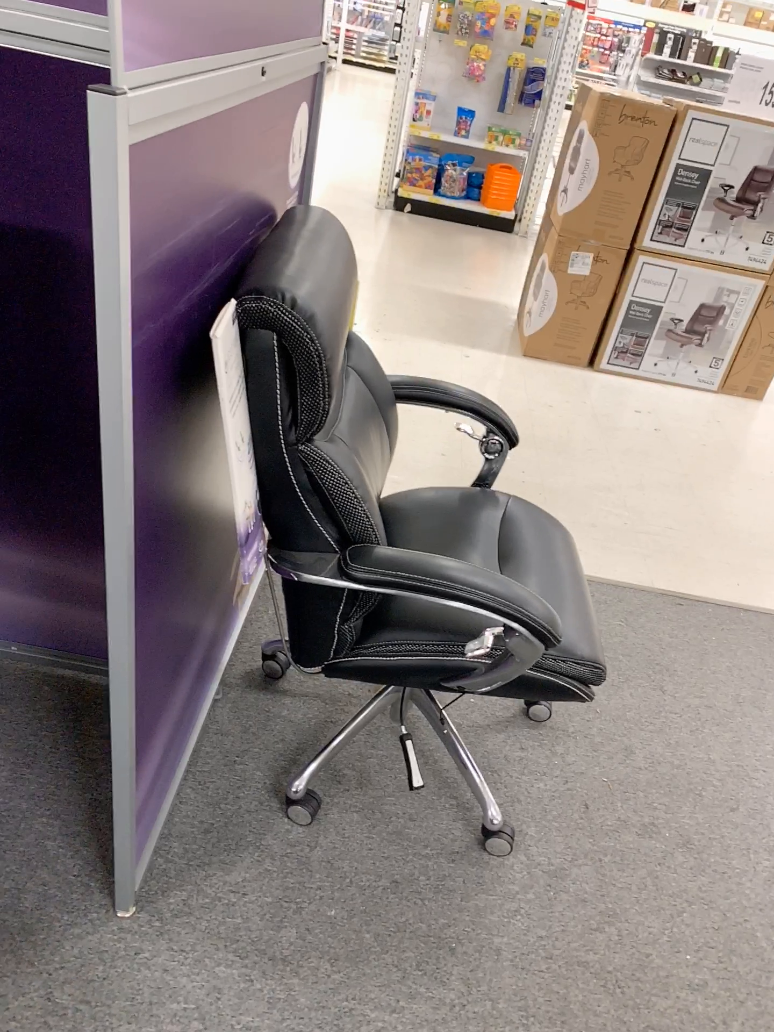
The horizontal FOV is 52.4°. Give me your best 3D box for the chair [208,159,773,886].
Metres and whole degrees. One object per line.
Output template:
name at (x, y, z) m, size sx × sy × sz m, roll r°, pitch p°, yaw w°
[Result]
chair at (0.155, -0.015, 1.448) m, size 0.720 × 0.955 × 0.774 m, roll 11°, pitch 33°, yaw -1°
